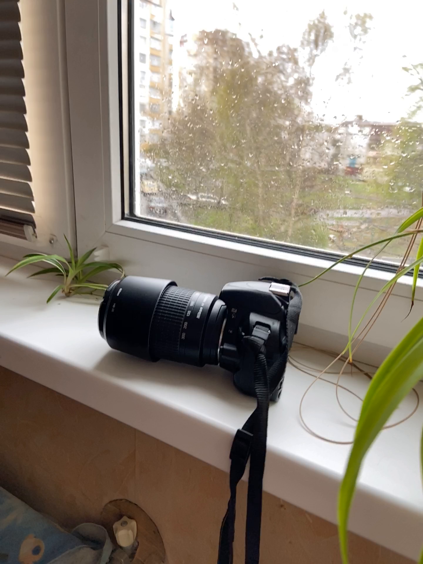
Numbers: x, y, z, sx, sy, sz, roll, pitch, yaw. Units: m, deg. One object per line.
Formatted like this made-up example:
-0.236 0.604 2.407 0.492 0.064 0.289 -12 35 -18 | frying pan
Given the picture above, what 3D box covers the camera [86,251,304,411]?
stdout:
-0.009 0.039 0.447 0.190 0.089 0.126 8 20 12 | camera
